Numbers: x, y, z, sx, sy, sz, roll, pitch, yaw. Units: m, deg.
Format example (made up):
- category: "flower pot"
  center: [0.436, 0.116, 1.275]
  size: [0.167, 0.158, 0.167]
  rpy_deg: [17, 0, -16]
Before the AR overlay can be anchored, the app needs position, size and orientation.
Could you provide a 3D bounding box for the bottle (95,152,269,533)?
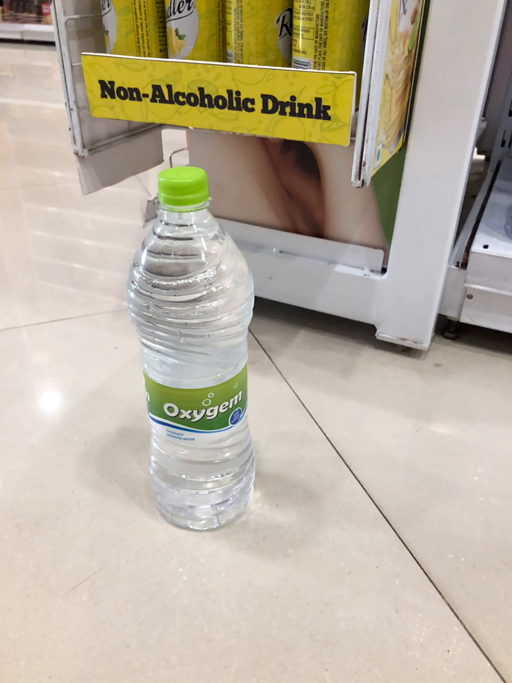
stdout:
- category: "bottle"
  center: [-0.042, 0.011, 0.394]
  size: [0.090, 0.258, 0.081]
  rpy_deg: [0, 31, -3]
